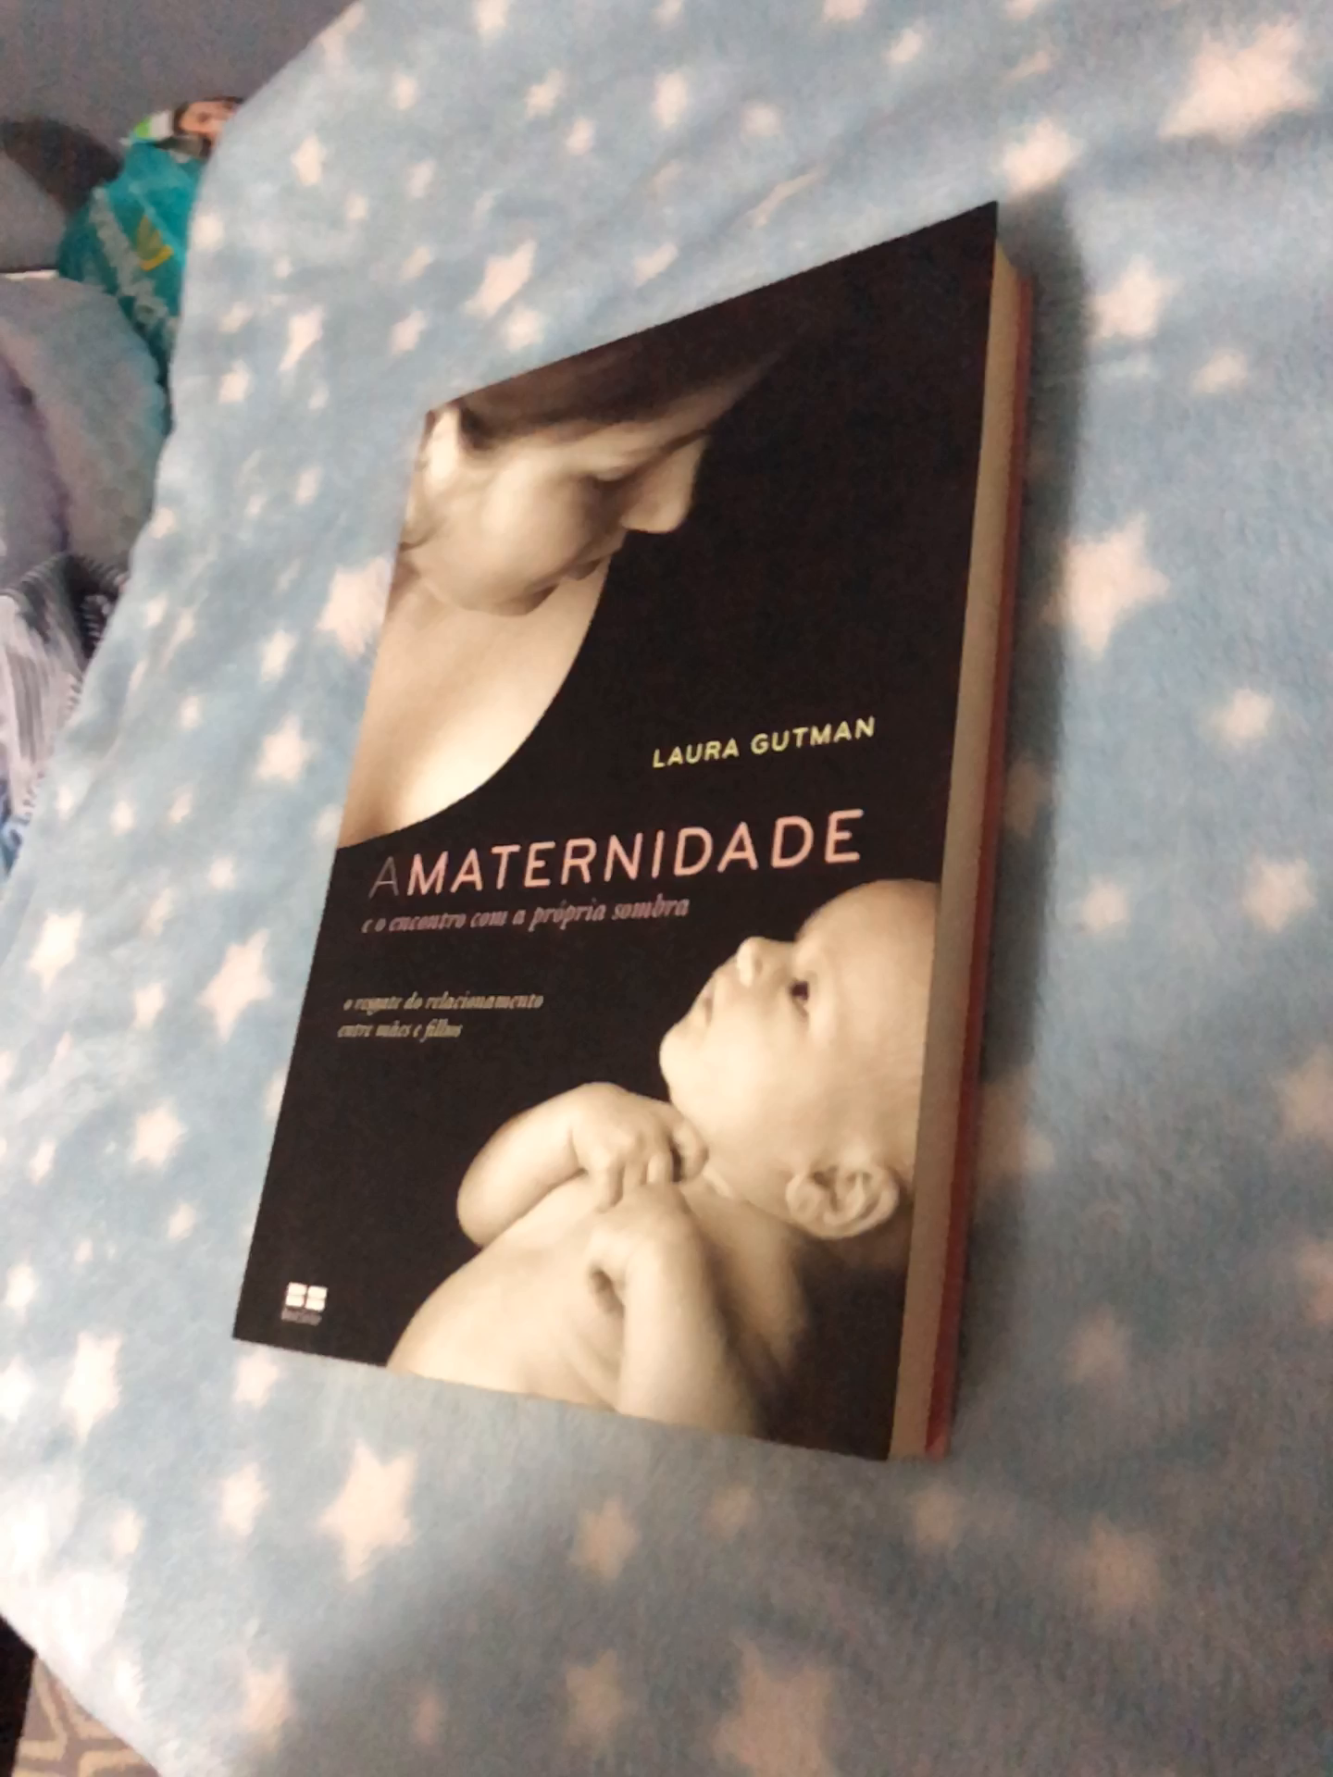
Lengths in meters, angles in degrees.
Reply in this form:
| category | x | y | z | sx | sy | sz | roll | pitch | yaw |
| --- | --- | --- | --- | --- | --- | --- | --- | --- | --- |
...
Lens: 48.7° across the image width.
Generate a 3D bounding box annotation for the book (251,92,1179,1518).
| category | x | y | z | sx | sy | sz | roll | pitch | yaw |
| --- | --- | --- | --- | --- | --- | --- | --- | --- | --- |
| book | 0.009 | -0.021 | 0.290 | 0.161 | 0.030 | 0.240 | -4 | 69 | 37 |
